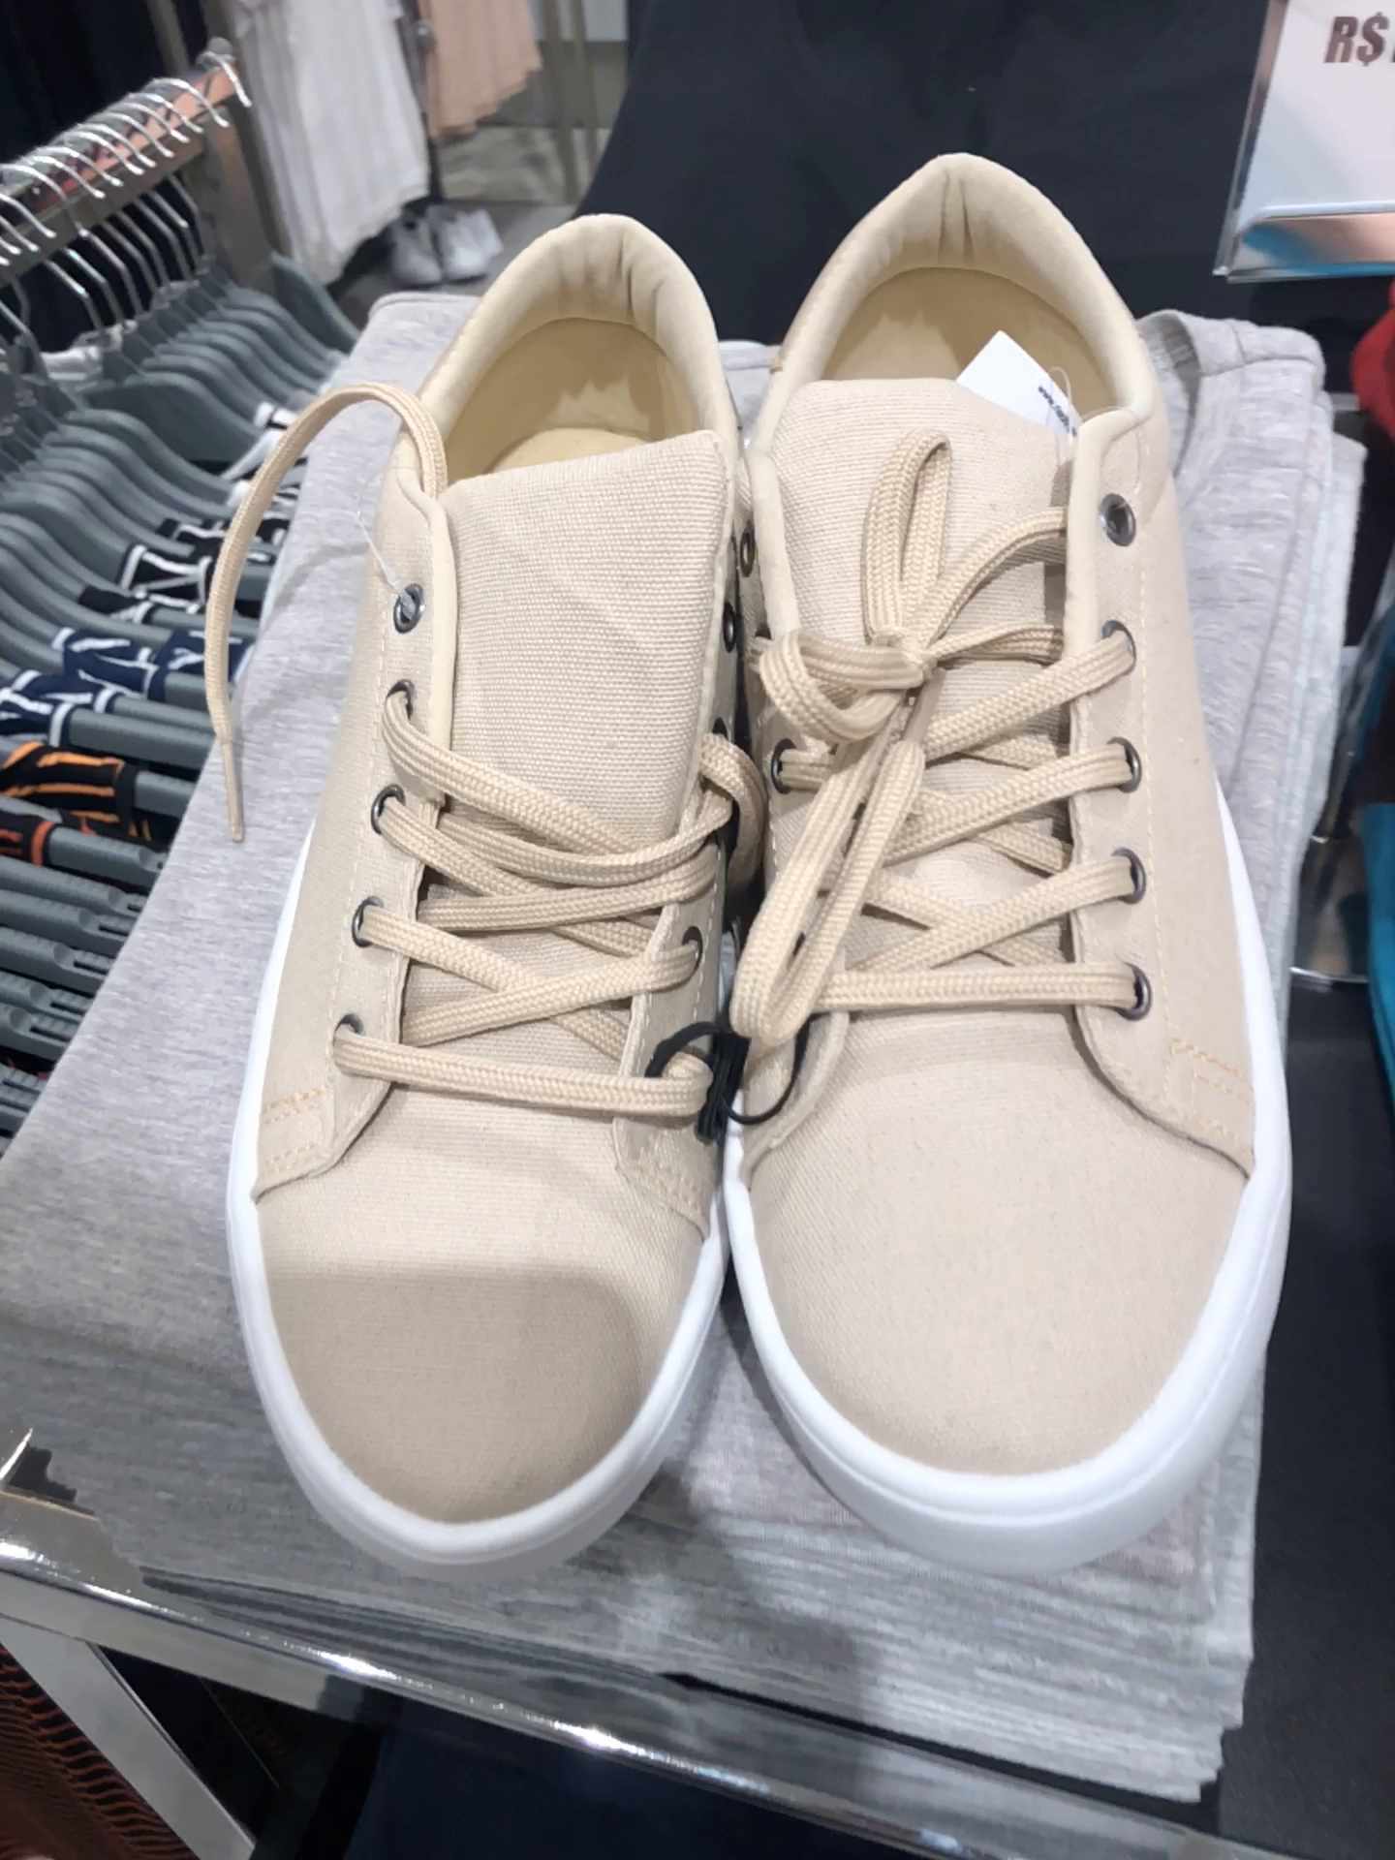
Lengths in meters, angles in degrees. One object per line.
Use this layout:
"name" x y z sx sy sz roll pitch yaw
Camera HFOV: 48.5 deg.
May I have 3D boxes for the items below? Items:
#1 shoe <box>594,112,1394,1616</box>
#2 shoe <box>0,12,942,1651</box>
"shoe" 0.060 -0.041 0.299 0.110 0.109 0.292 0 48 6
"shoe" -0.020 -0.031 0.288 0.100 0.109 0.282 7 59 0
